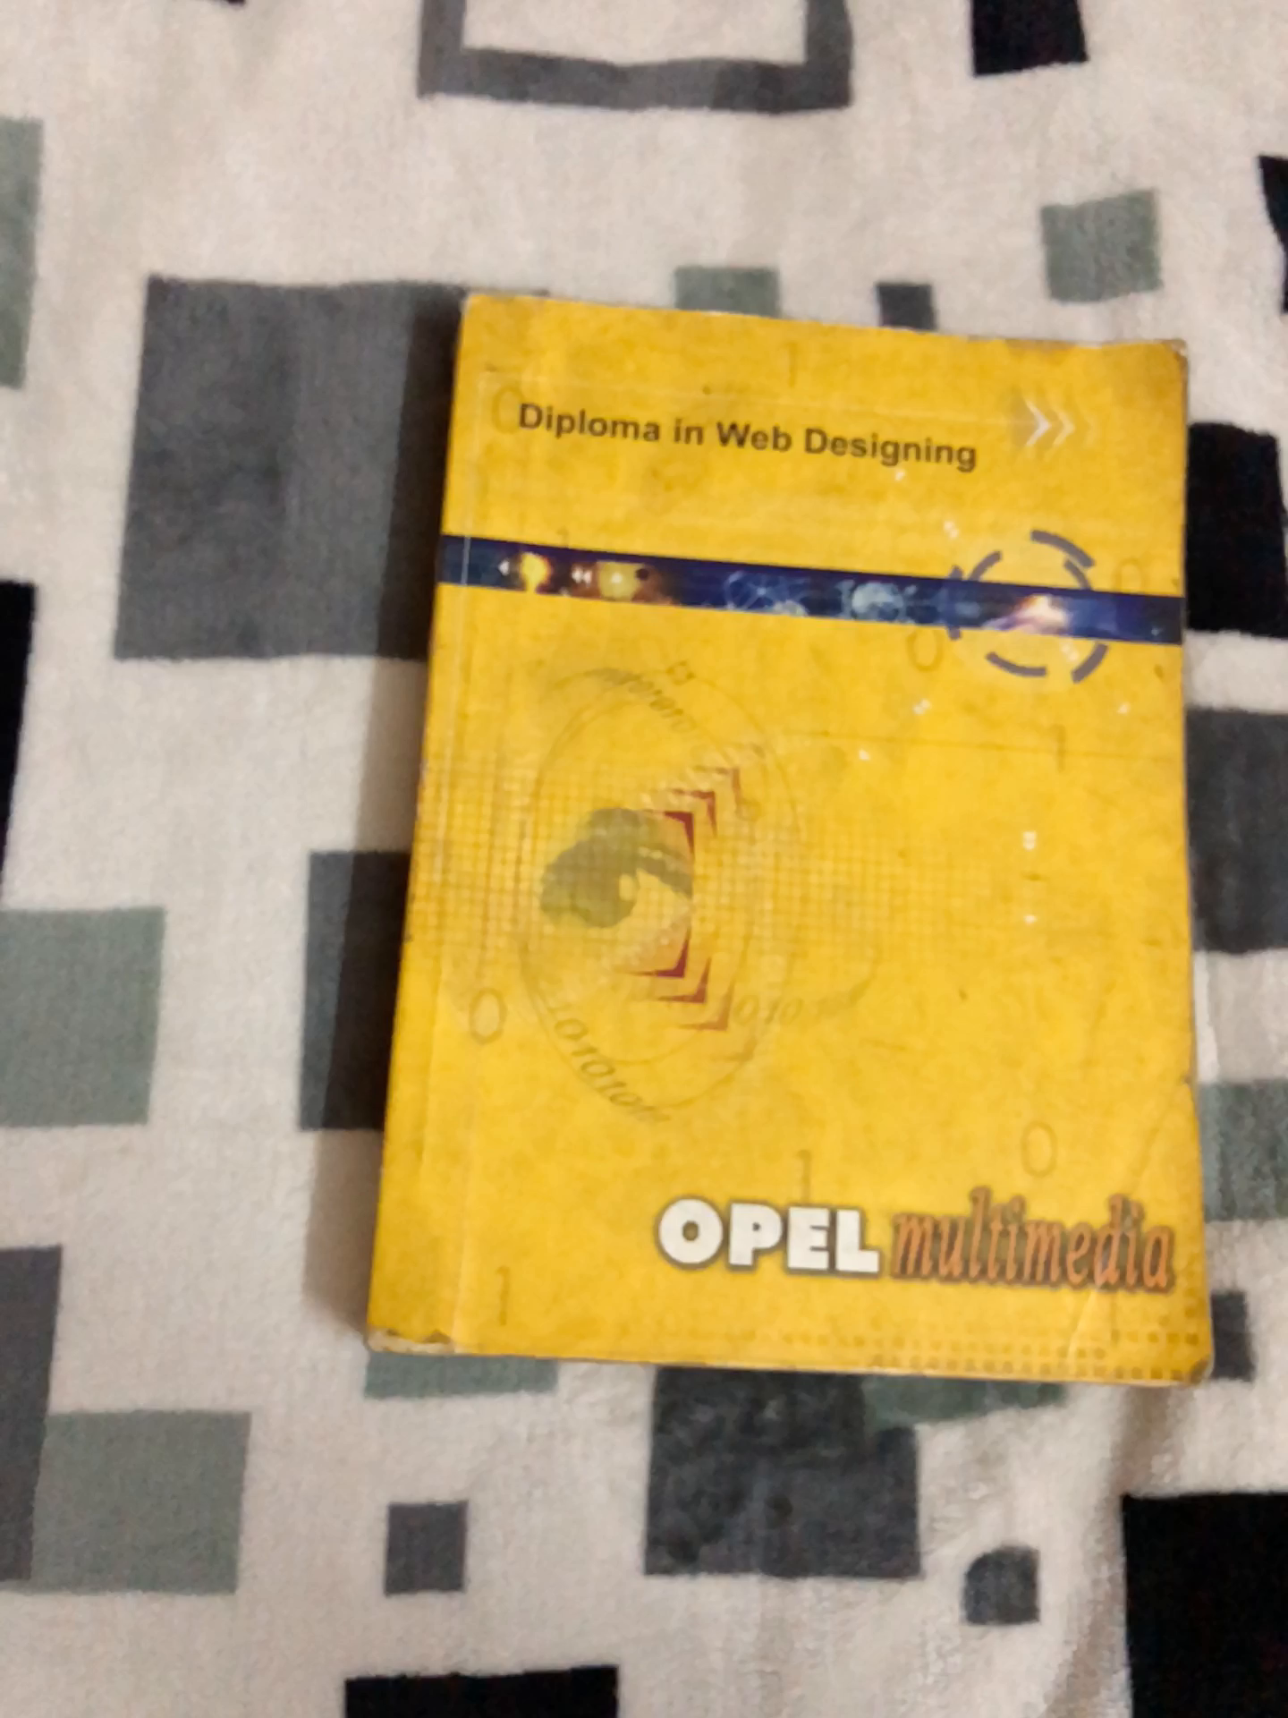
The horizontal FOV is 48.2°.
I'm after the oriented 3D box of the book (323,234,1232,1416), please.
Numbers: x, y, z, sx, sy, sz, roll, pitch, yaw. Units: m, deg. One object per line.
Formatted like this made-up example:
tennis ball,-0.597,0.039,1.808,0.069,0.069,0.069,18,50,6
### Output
book,0.041,-0.014,0.417,0.220,0.070,0.310,4,77,-2
